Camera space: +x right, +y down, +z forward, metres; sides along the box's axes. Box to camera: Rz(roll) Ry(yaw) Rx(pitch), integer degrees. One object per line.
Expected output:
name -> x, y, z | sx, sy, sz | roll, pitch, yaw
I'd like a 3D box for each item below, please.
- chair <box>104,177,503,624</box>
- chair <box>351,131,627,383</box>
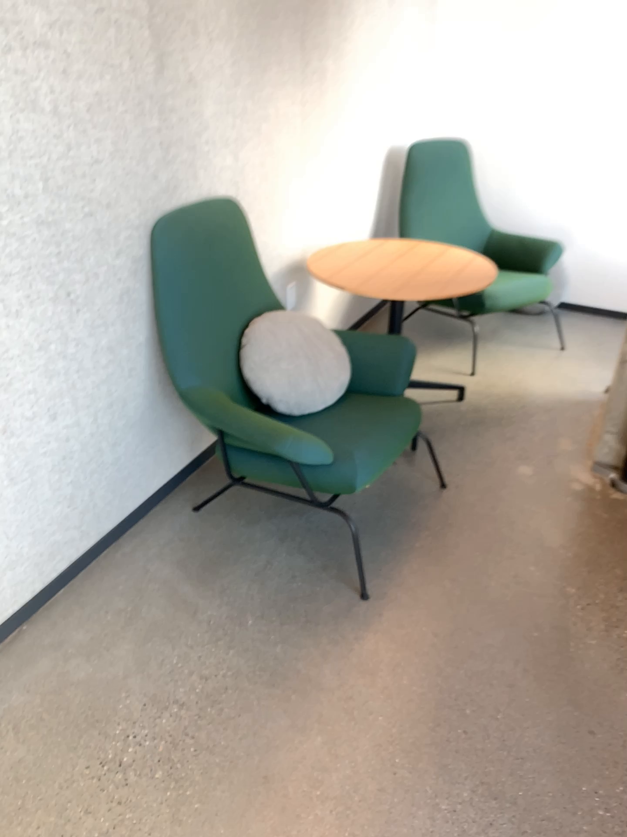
chair -> 0.000, -0.140, 2.140 | 0.852, 1.034, 0.834 | 17, 34, 25
chair -> 0.842, -0.905, 3.393 | 0.821, 0.954, 1.005 | -15, 34, -27
